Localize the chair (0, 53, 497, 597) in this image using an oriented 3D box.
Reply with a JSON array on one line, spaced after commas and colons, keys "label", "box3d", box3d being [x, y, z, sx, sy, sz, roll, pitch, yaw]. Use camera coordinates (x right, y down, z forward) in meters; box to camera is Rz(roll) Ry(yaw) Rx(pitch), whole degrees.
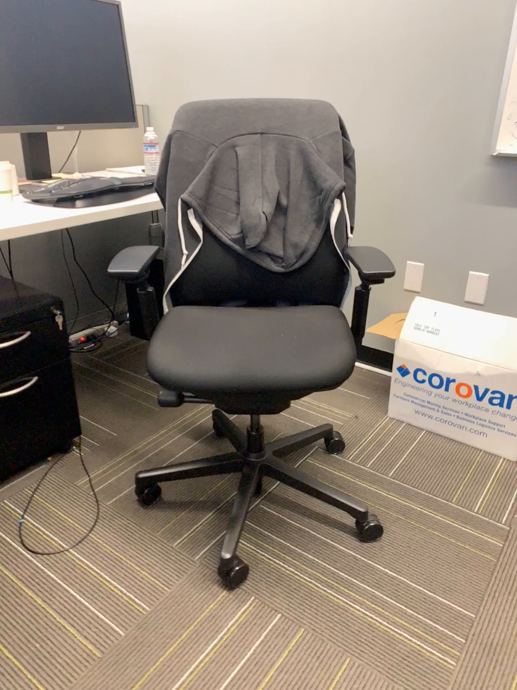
[{"label": "chair", "box3d": [-0.022, -0.114, 1.387, 0.750, 1.075, 0.884, 2, 24, 2]}]
